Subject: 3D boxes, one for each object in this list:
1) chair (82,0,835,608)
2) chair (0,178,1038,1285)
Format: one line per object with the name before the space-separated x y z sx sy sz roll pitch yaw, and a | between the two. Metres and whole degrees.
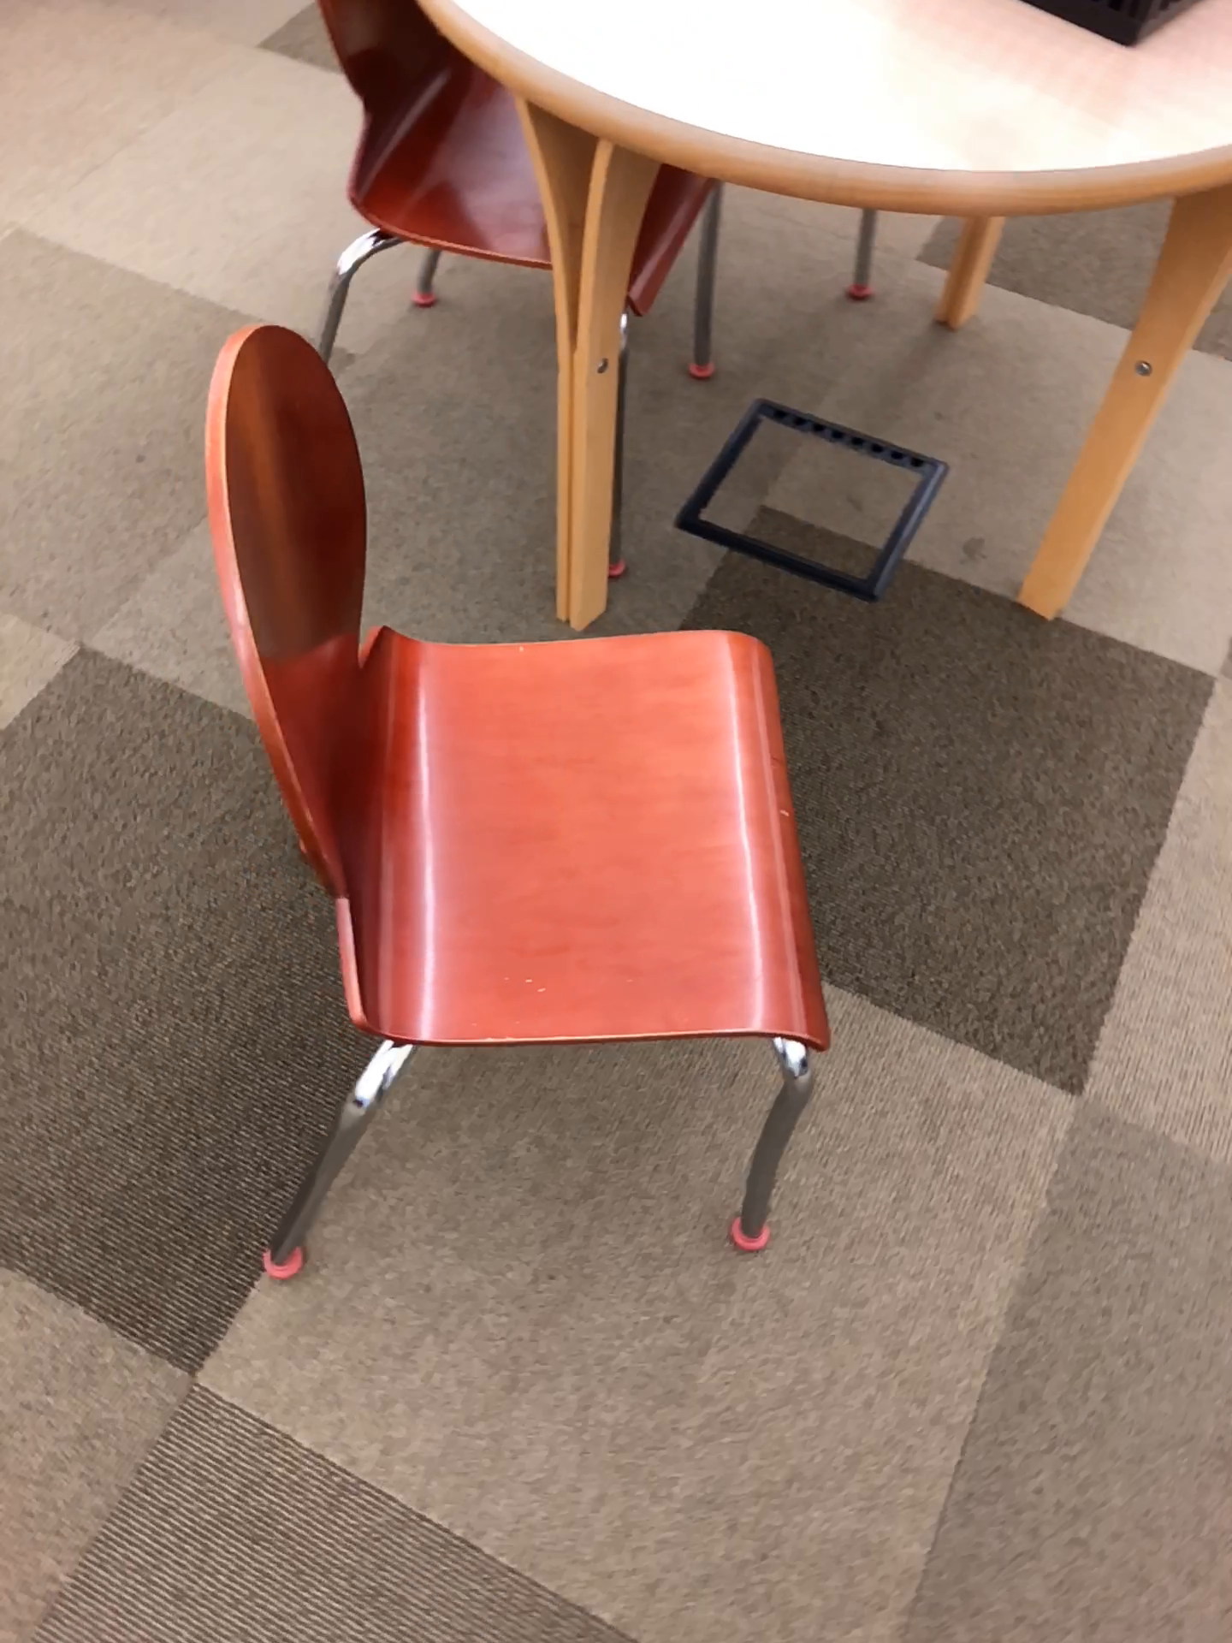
chair | -0.126 -0.727 1.496 0.508 0.721 0.508 17 57 8
chair | -0.081 -0.007 1.032 0.488 0.721 0.488 -1 56 -4
